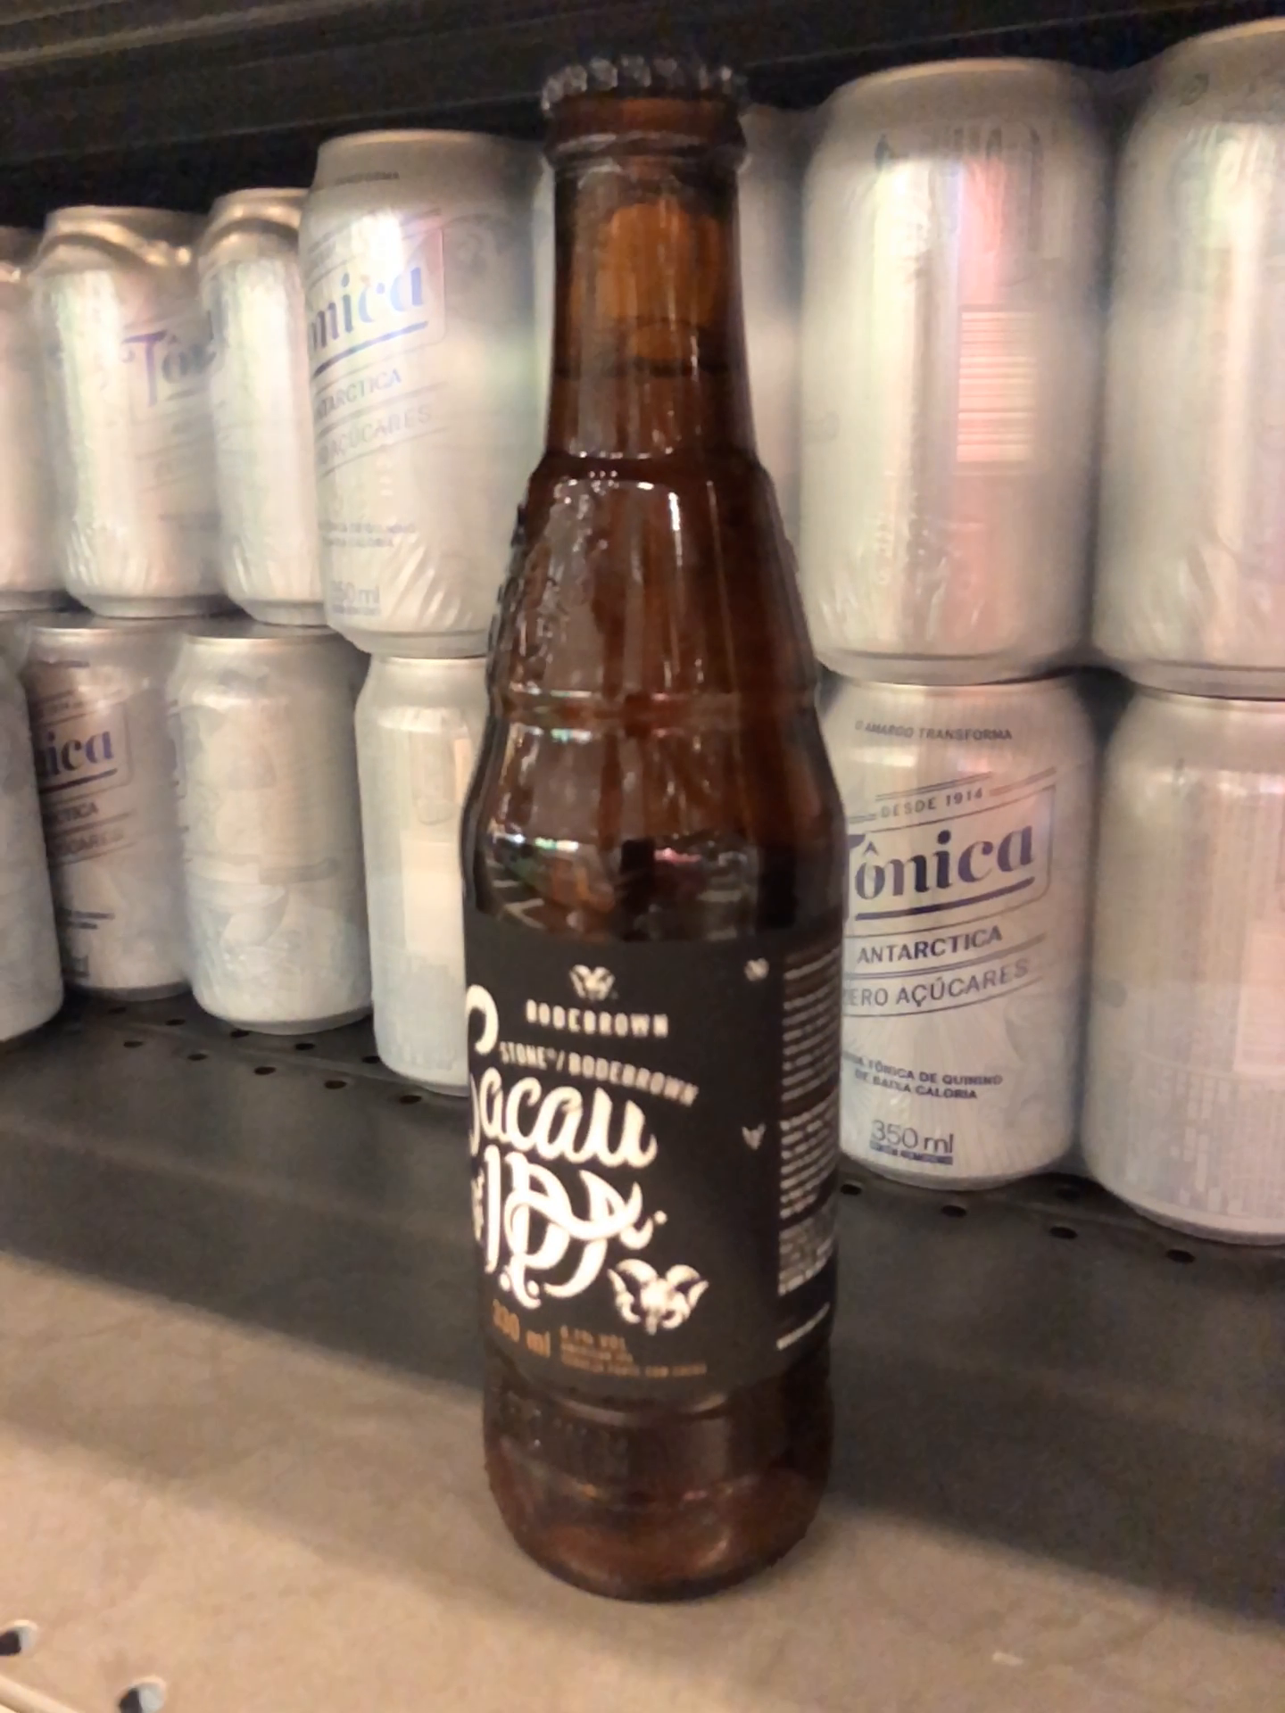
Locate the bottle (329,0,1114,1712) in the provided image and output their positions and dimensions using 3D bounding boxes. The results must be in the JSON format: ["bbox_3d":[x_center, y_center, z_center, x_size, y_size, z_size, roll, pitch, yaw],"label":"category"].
[{"bbox_3d":[0.014,0.002,0.225,0.080,0.249,0.070,10,20,34],"label":"bottle"}]
